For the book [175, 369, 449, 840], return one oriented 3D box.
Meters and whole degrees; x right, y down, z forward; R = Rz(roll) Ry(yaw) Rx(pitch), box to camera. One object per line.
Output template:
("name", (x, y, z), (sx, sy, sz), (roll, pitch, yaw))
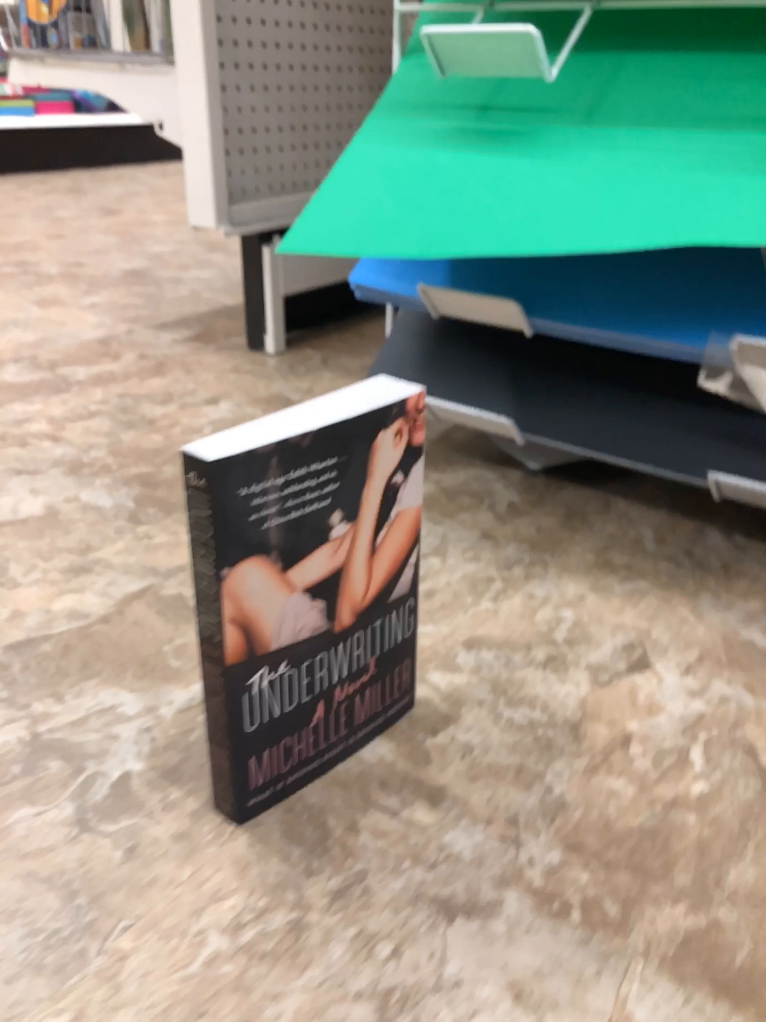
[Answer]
("book", (-0.028, 0.044, 0.437), (0.035, 0.203, 0.141), (22, 33, 37))
